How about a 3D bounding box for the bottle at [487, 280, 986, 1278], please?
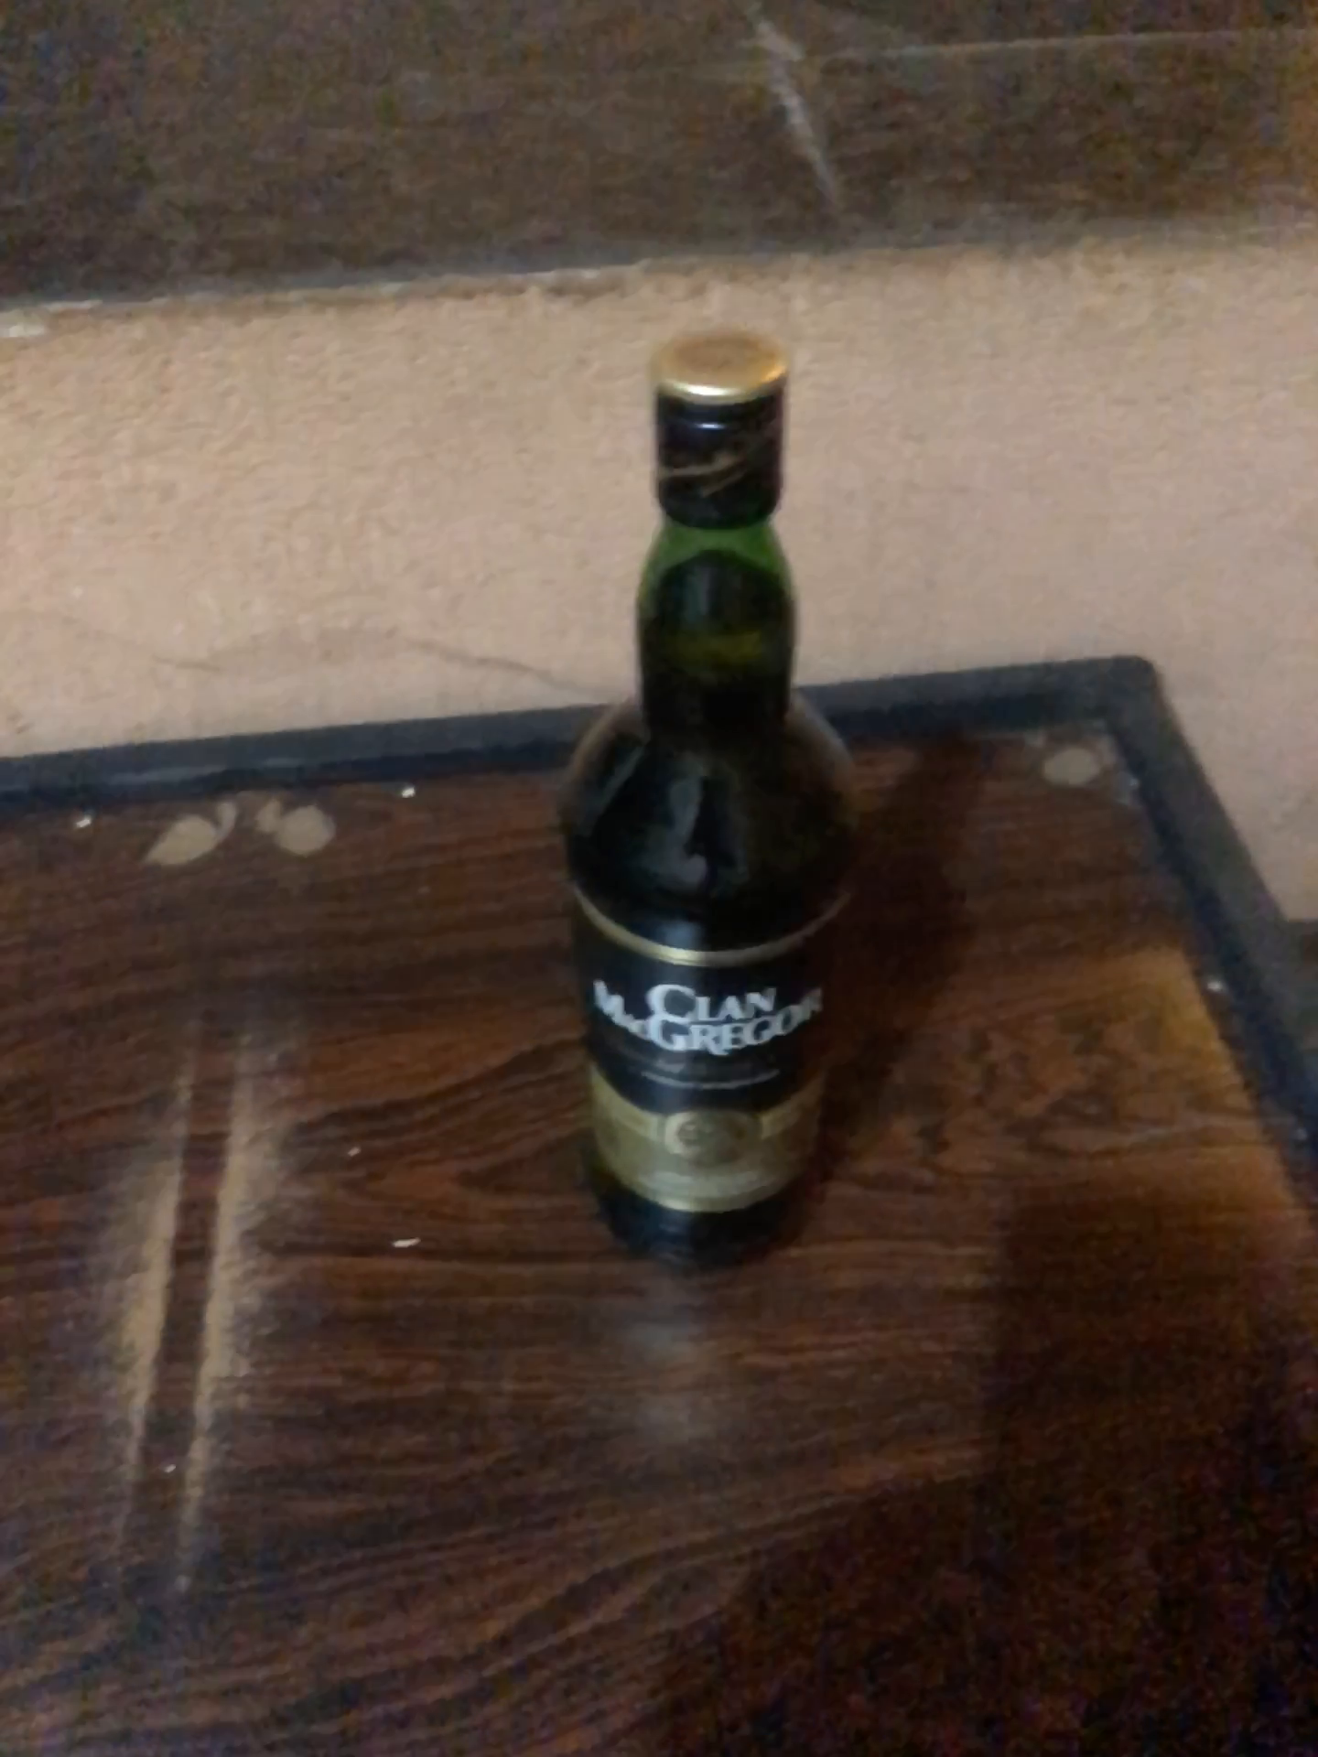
[{"bbox_3d":[0.019,0.003,0.405,0.090,0.308,0.081,0,49,2],"label":"bottle"}]
